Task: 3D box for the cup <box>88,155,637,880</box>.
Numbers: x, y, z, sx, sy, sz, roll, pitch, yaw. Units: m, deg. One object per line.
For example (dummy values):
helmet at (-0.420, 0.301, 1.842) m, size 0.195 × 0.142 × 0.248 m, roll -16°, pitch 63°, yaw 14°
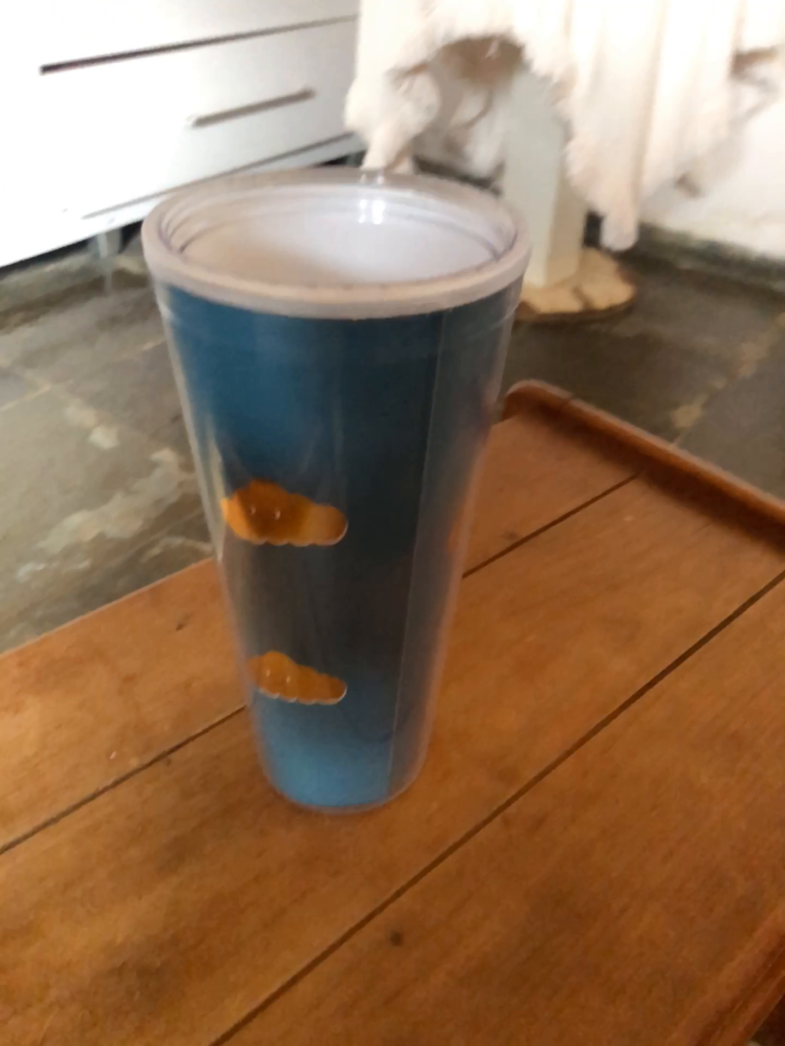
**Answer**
cup at (-0.014, -0.003, 0.272) m, size 0.100 × 0.179 × 0.100 m, roll 1°, pitch 37°, yaw -1°
